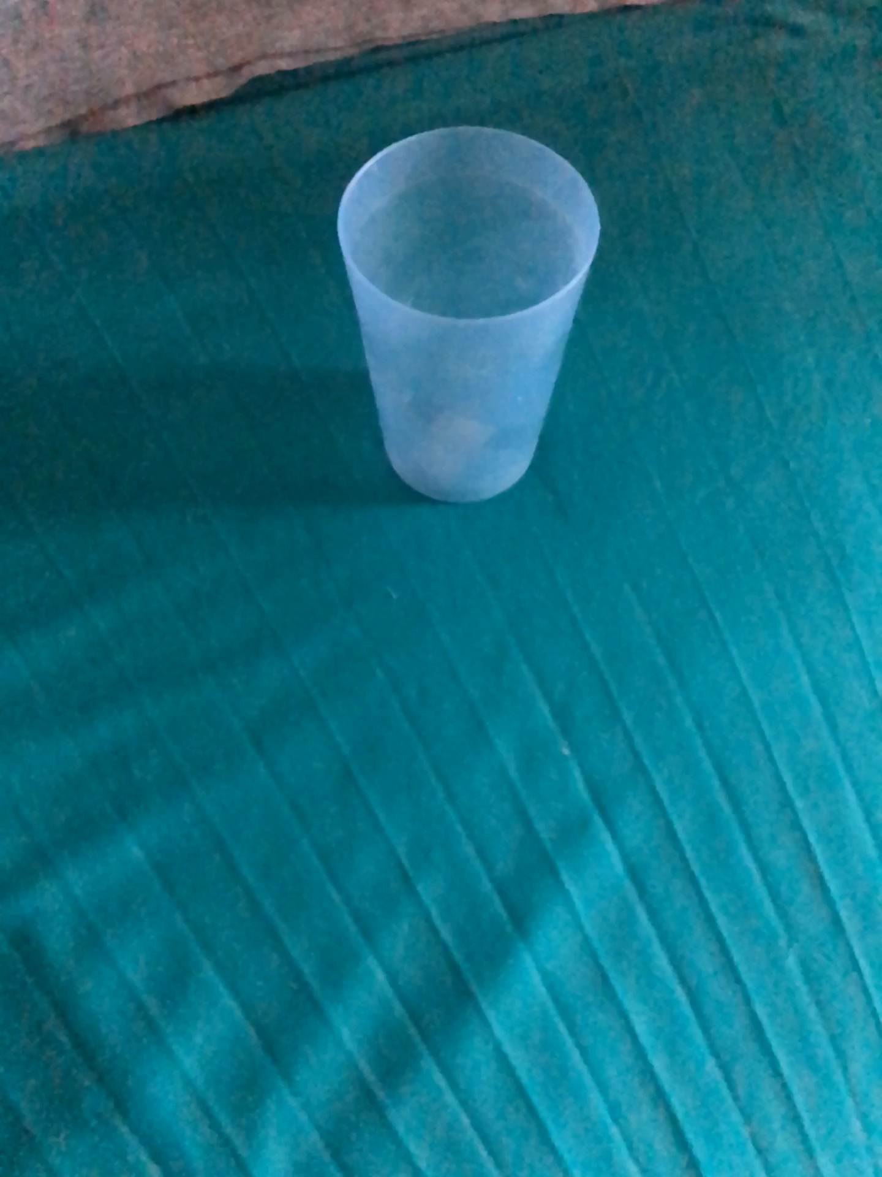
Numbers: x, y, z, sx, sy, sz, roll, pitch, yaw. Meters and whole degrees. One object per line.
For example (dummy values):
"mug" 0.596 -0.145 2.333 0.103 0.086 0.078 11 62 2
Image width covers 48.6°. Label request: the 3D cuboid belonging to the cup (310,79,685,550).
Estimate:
"cup" 0.011 -0.075 0.300 0.078 0.119 0.066 -14 69 -8
